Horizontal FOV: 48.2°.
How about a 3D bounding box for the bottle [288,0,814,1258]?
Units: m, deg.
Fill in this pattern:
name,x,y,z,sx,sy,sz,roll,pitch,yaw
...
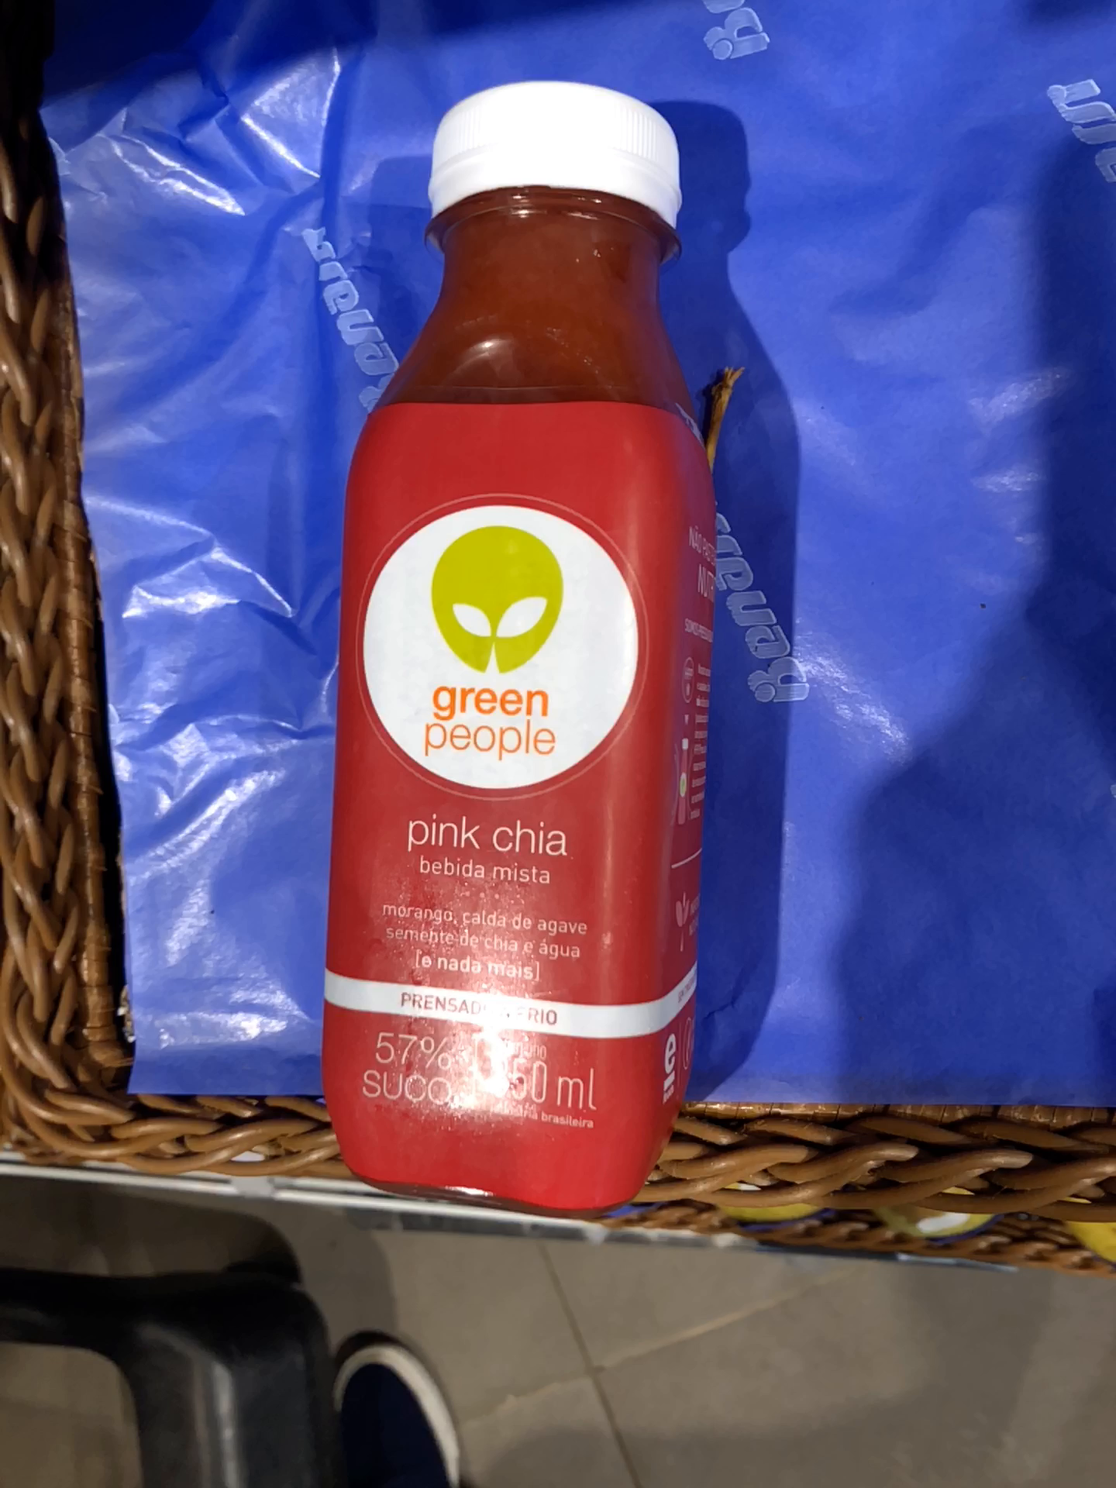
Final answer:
name,x,y,z,sx,sy,sz,roll,pitch,yaw
bottle,0.003,-0.027,0.206,0.060,0.060,0.190,4,90,18
